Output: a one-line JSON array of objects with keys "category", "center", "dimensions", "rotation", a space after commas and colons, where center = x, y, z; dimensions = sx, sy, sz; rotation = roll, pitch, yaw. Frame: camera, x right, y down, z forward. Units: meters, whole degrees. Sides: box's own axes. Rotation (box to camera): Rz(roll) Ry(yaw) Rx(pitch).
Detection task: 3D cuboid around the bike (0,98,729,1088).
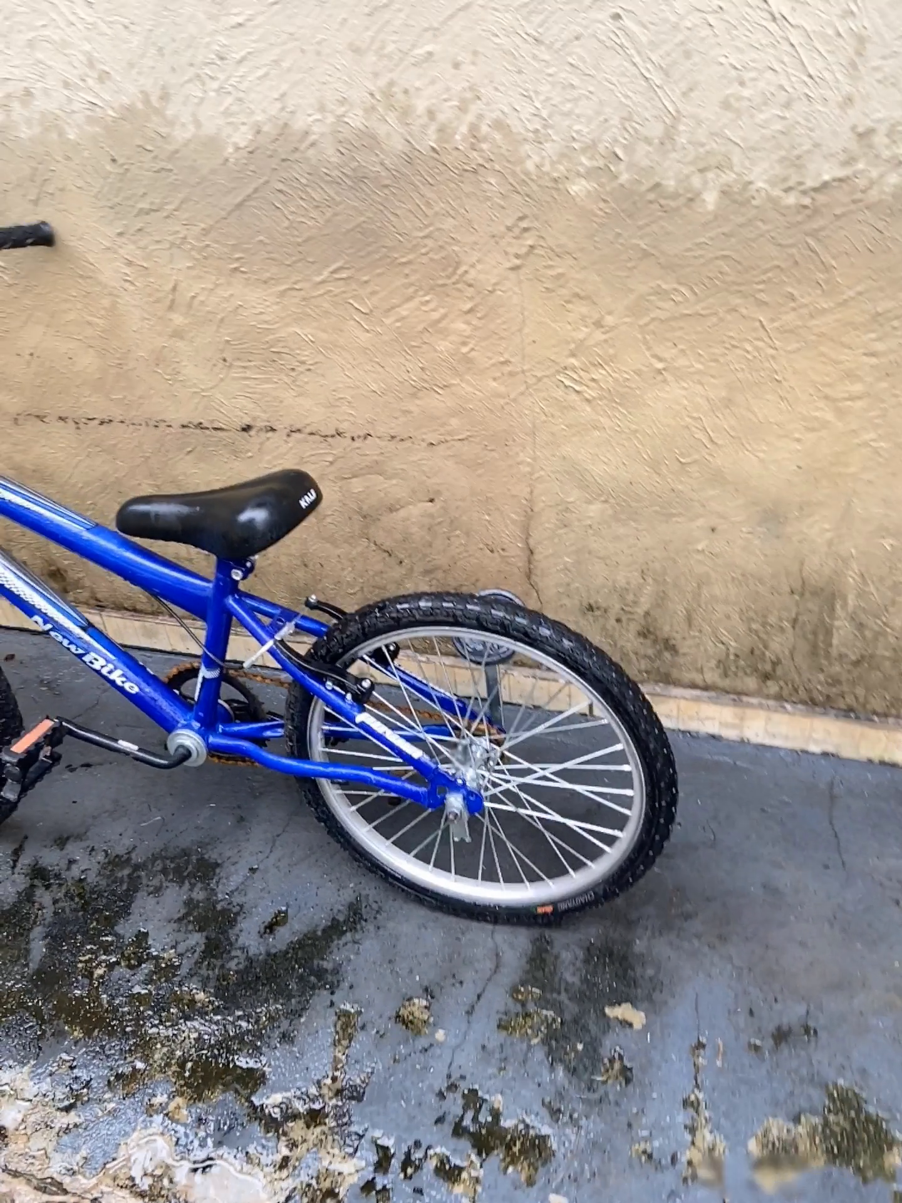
[{"category": "bike", "center": [-0.352, -0.074, 1.099], "dimensions": [1.250, 0.849, 0.545], "rotation": [8, 39, 16]}]
